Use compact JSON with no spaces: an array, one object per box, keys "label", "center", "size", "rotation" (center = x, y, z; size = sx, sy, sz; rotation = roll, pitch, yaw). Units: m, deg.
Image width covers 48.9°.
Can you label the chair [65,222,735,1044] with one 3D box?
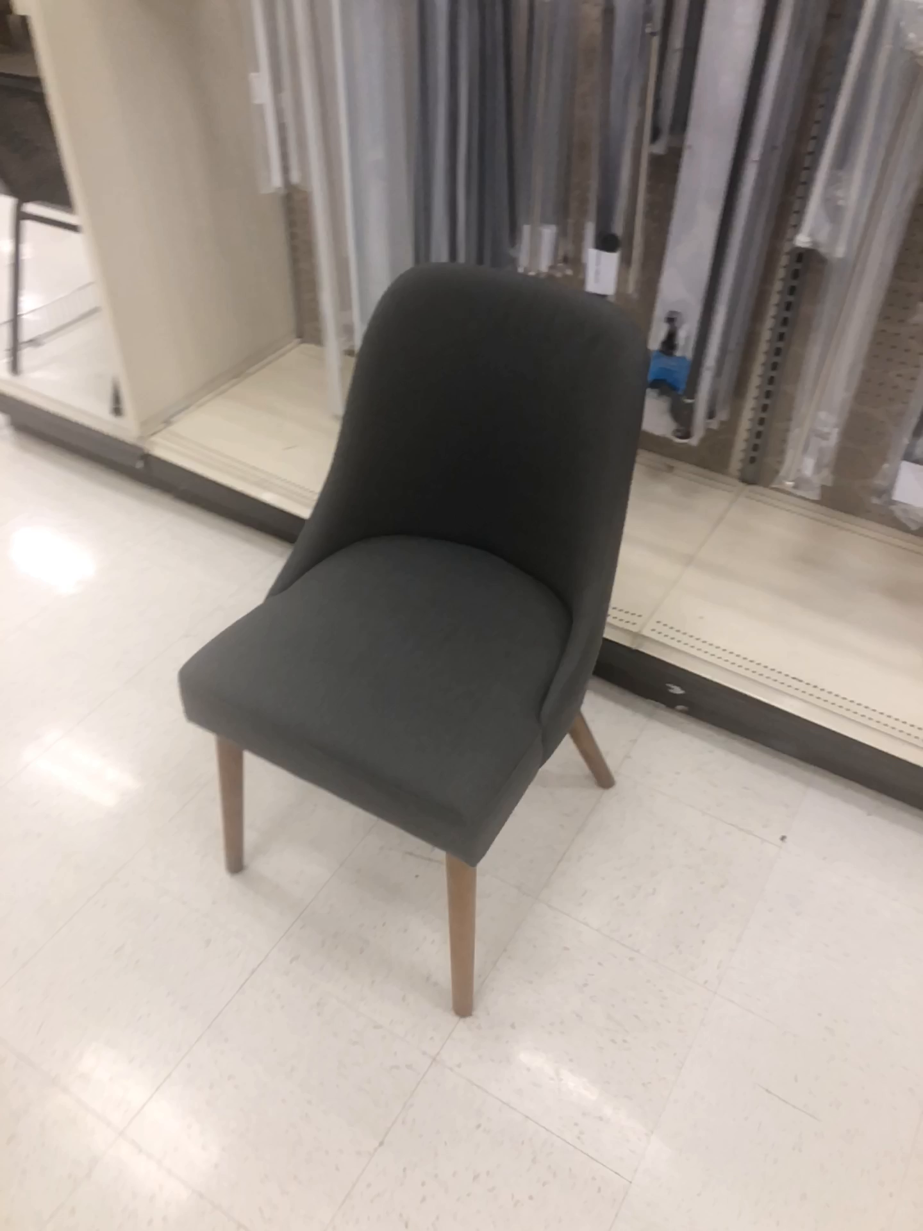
[{"label":"chair","center":[-0.044,0.021,1.431],"size":[0.514,0.859,0.589],"rotation":[23,46,24]}]
